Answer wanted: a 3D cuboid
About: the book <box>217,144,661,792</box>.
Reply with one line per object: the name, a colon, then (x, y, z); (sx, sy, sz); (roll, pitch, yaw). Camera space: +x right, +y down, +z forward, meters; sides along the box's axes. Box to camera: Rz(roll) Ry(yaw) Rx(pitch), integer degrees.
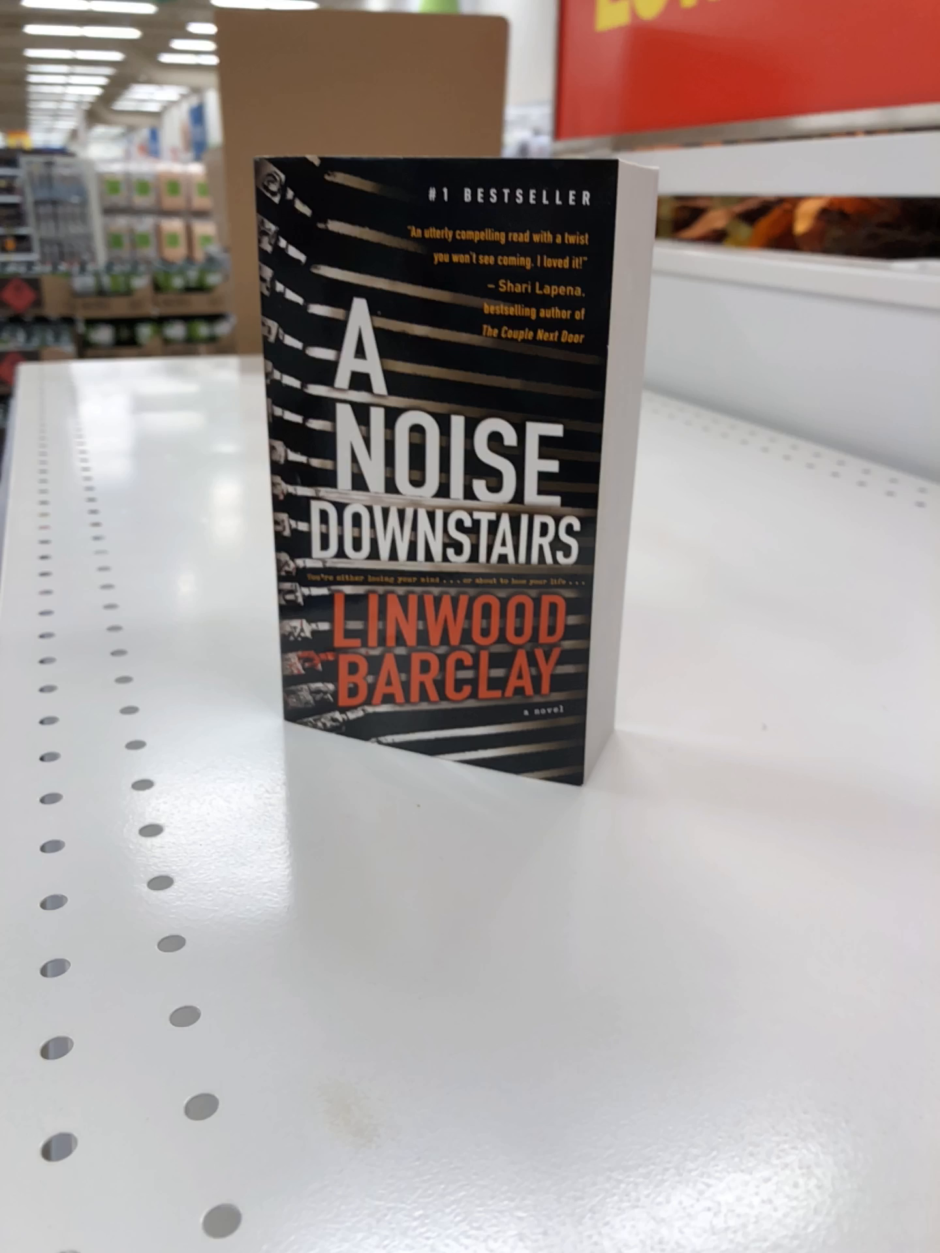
book: (-0.009, -0.047, 0.309); (0.110, 0.170, 0.041); (10, 25, 23)
